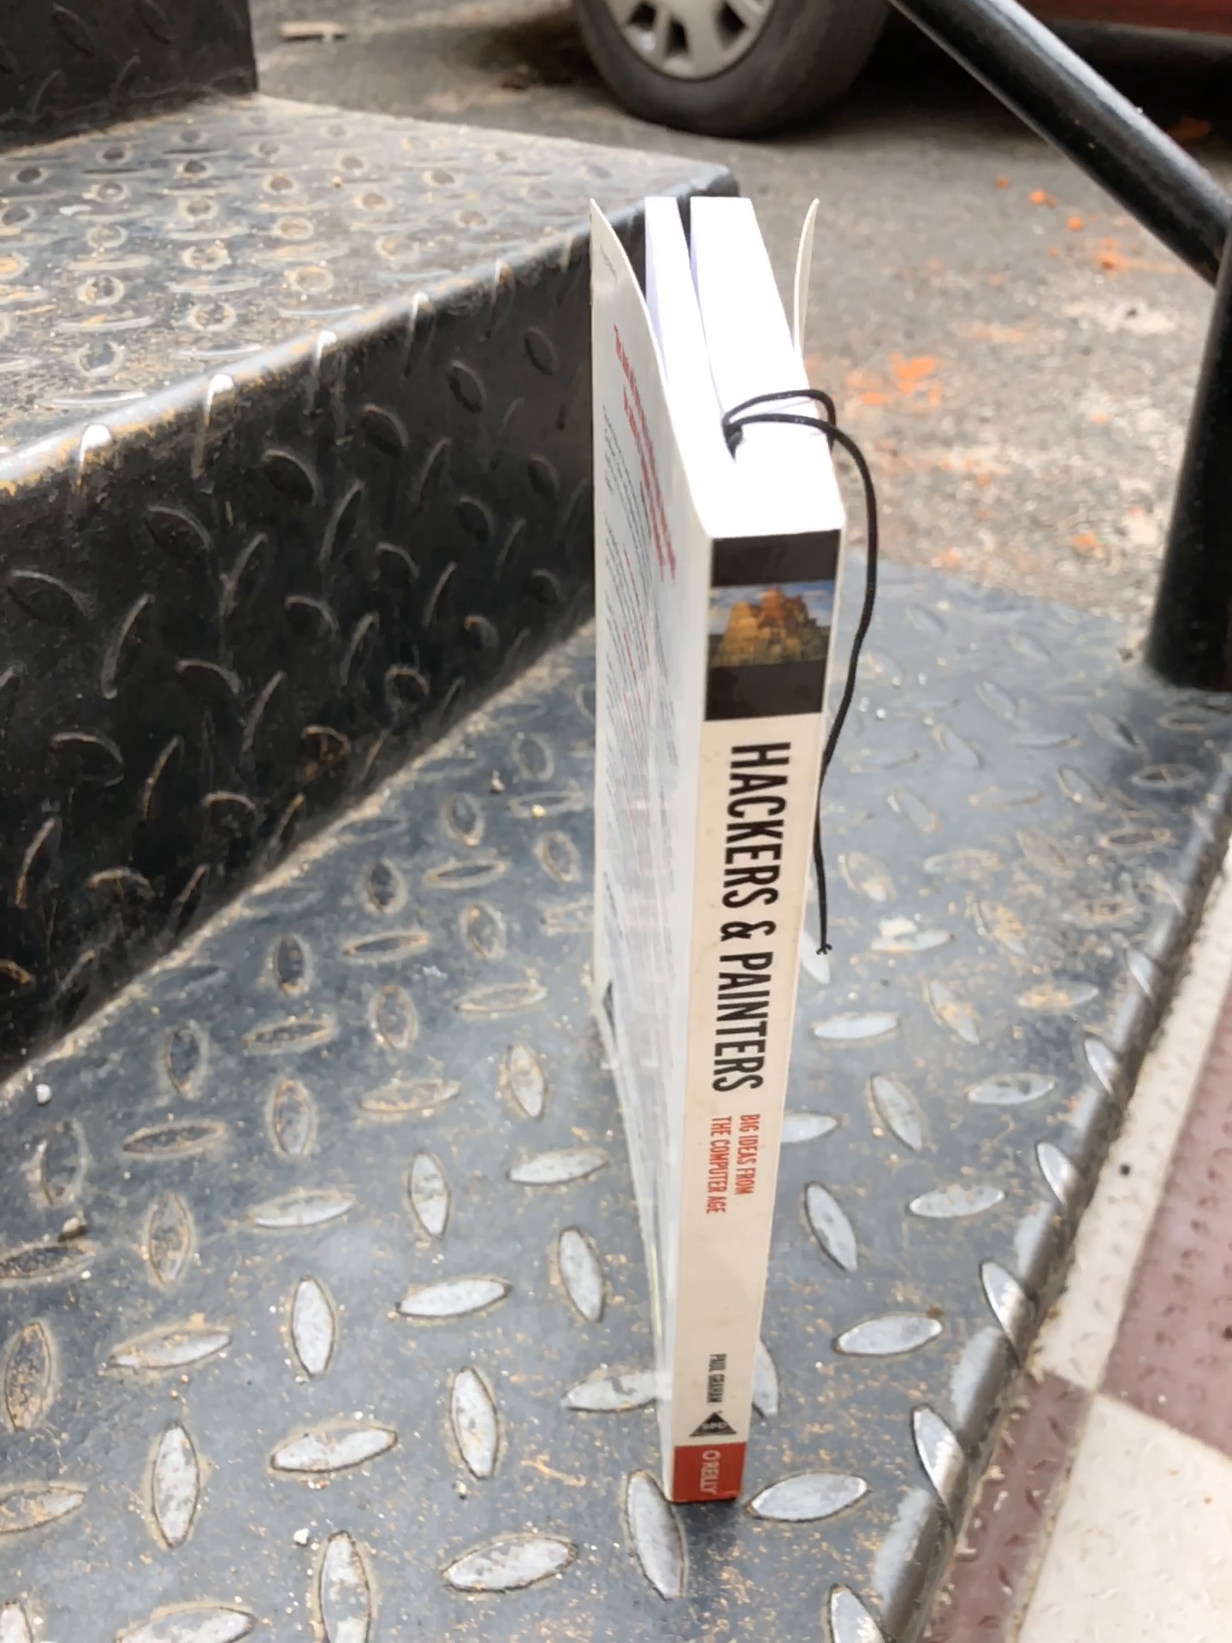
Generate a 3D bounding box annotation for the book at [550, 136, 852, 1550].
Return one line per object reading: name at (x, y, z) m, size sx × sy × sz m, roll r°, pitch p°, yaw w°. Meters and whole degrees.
book at (0.009, 0.006, 0.272) m, size 0.030 × 0.219 × 0.171 m, roll -2°, pitch 40°, yaw 0°
